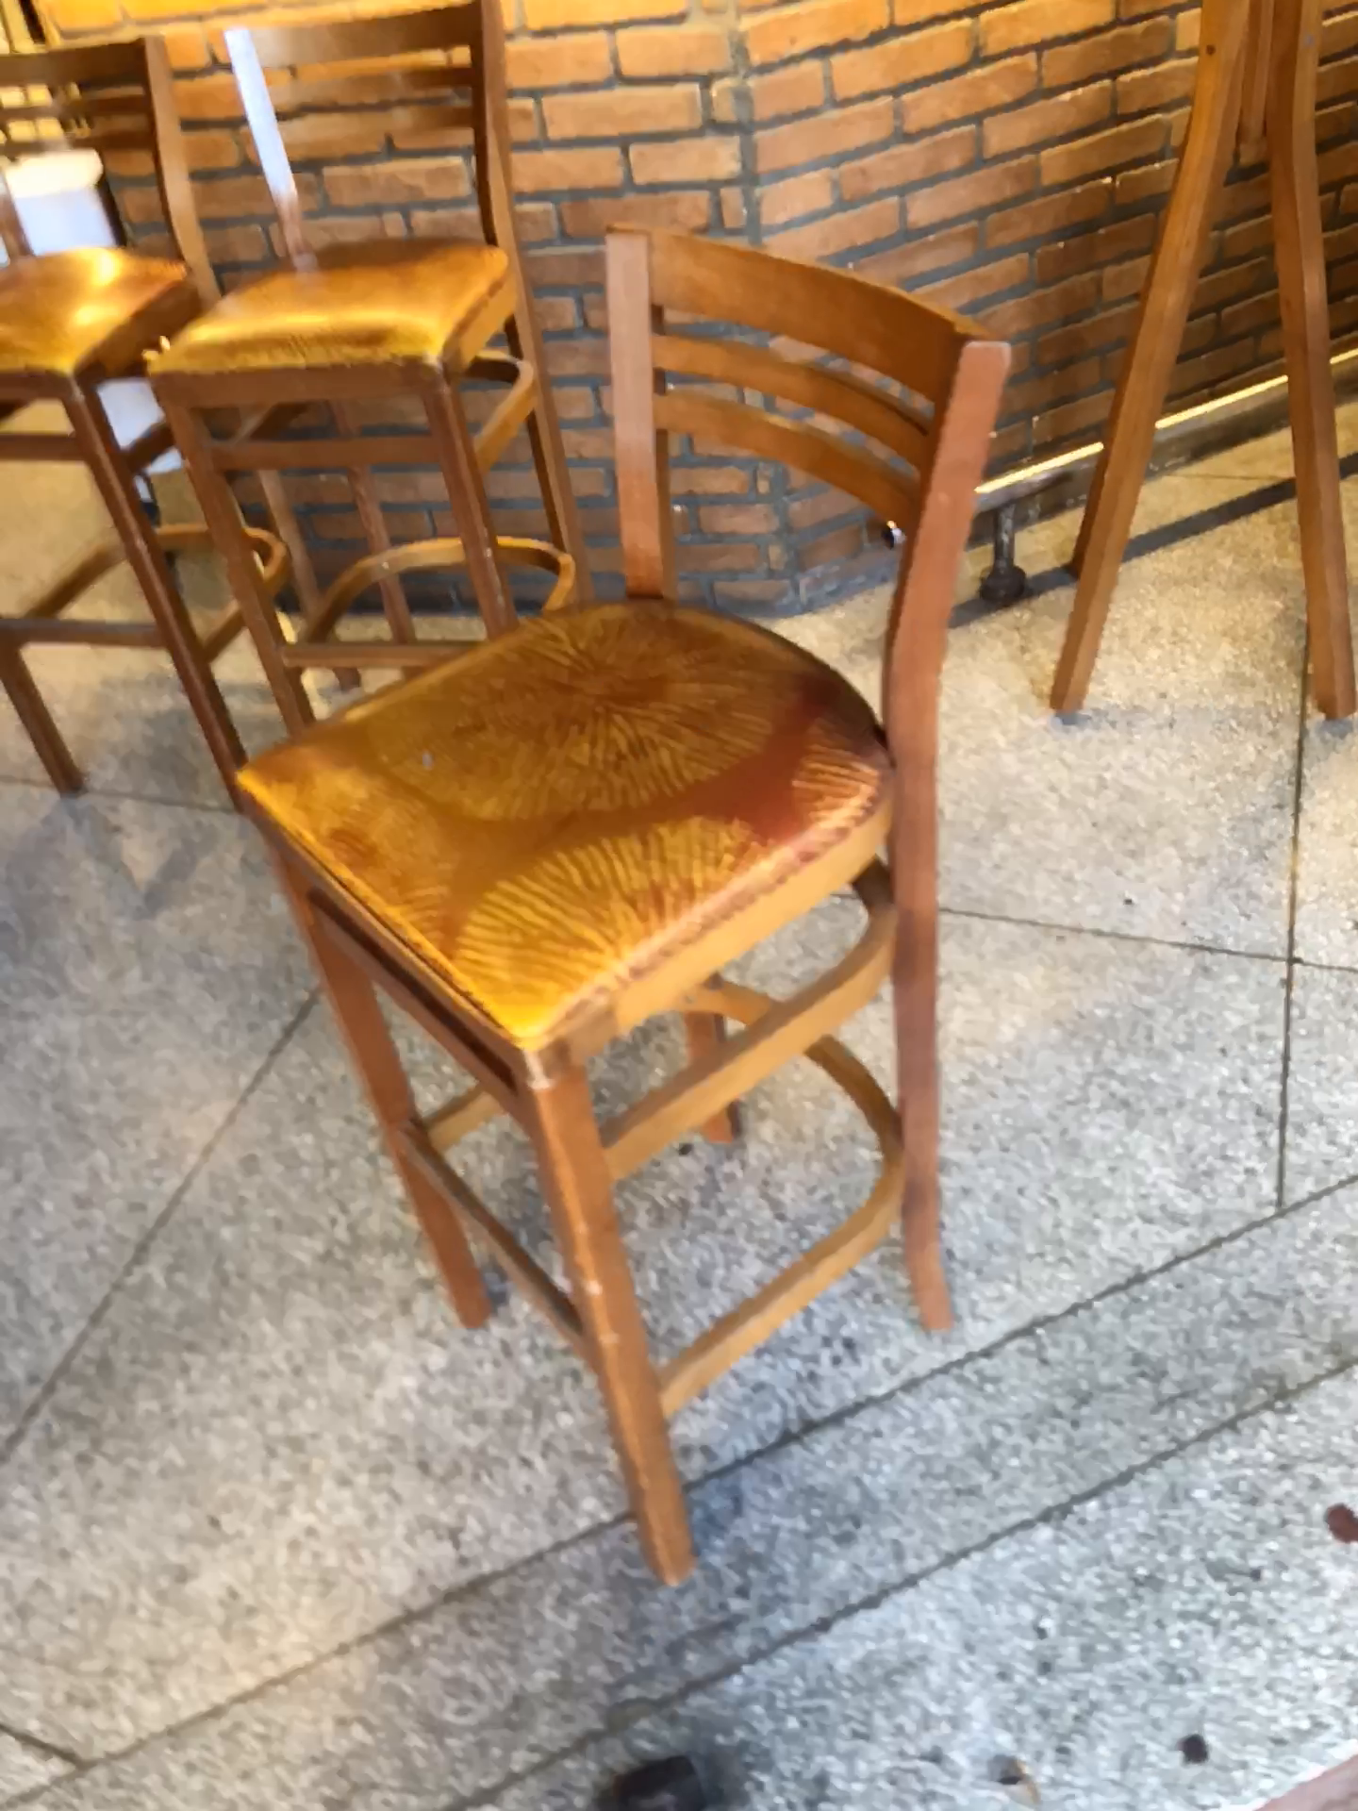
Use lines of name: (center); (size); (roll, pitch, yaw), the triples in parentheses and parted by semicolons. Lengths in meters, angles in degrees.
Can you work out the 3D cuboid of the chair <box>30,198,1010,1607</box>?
chair: (-0.039, 0.048, 1.170); (0.431, 0.973, 0.402); (-31, 44, -22)
